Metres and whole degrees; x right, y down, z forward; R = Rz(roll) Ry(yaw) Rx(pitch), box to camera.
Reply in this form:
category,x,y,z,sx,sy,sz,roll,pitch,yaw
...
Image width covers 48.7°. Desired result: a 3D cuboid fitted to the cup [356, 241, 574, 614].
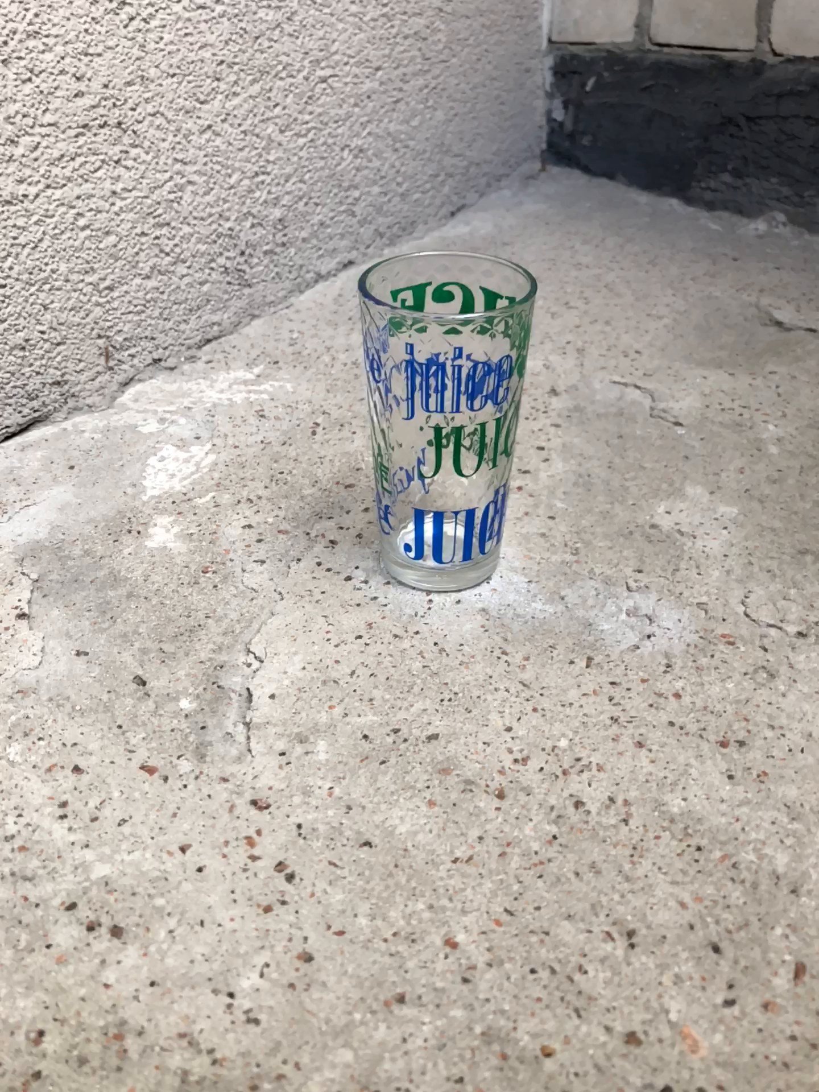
category,x,y,z,sx,sy,sz,roll,pitch,yaw
cup,0.017,-0.046,0.357,0.065,0.125,0.067,0,35,0
